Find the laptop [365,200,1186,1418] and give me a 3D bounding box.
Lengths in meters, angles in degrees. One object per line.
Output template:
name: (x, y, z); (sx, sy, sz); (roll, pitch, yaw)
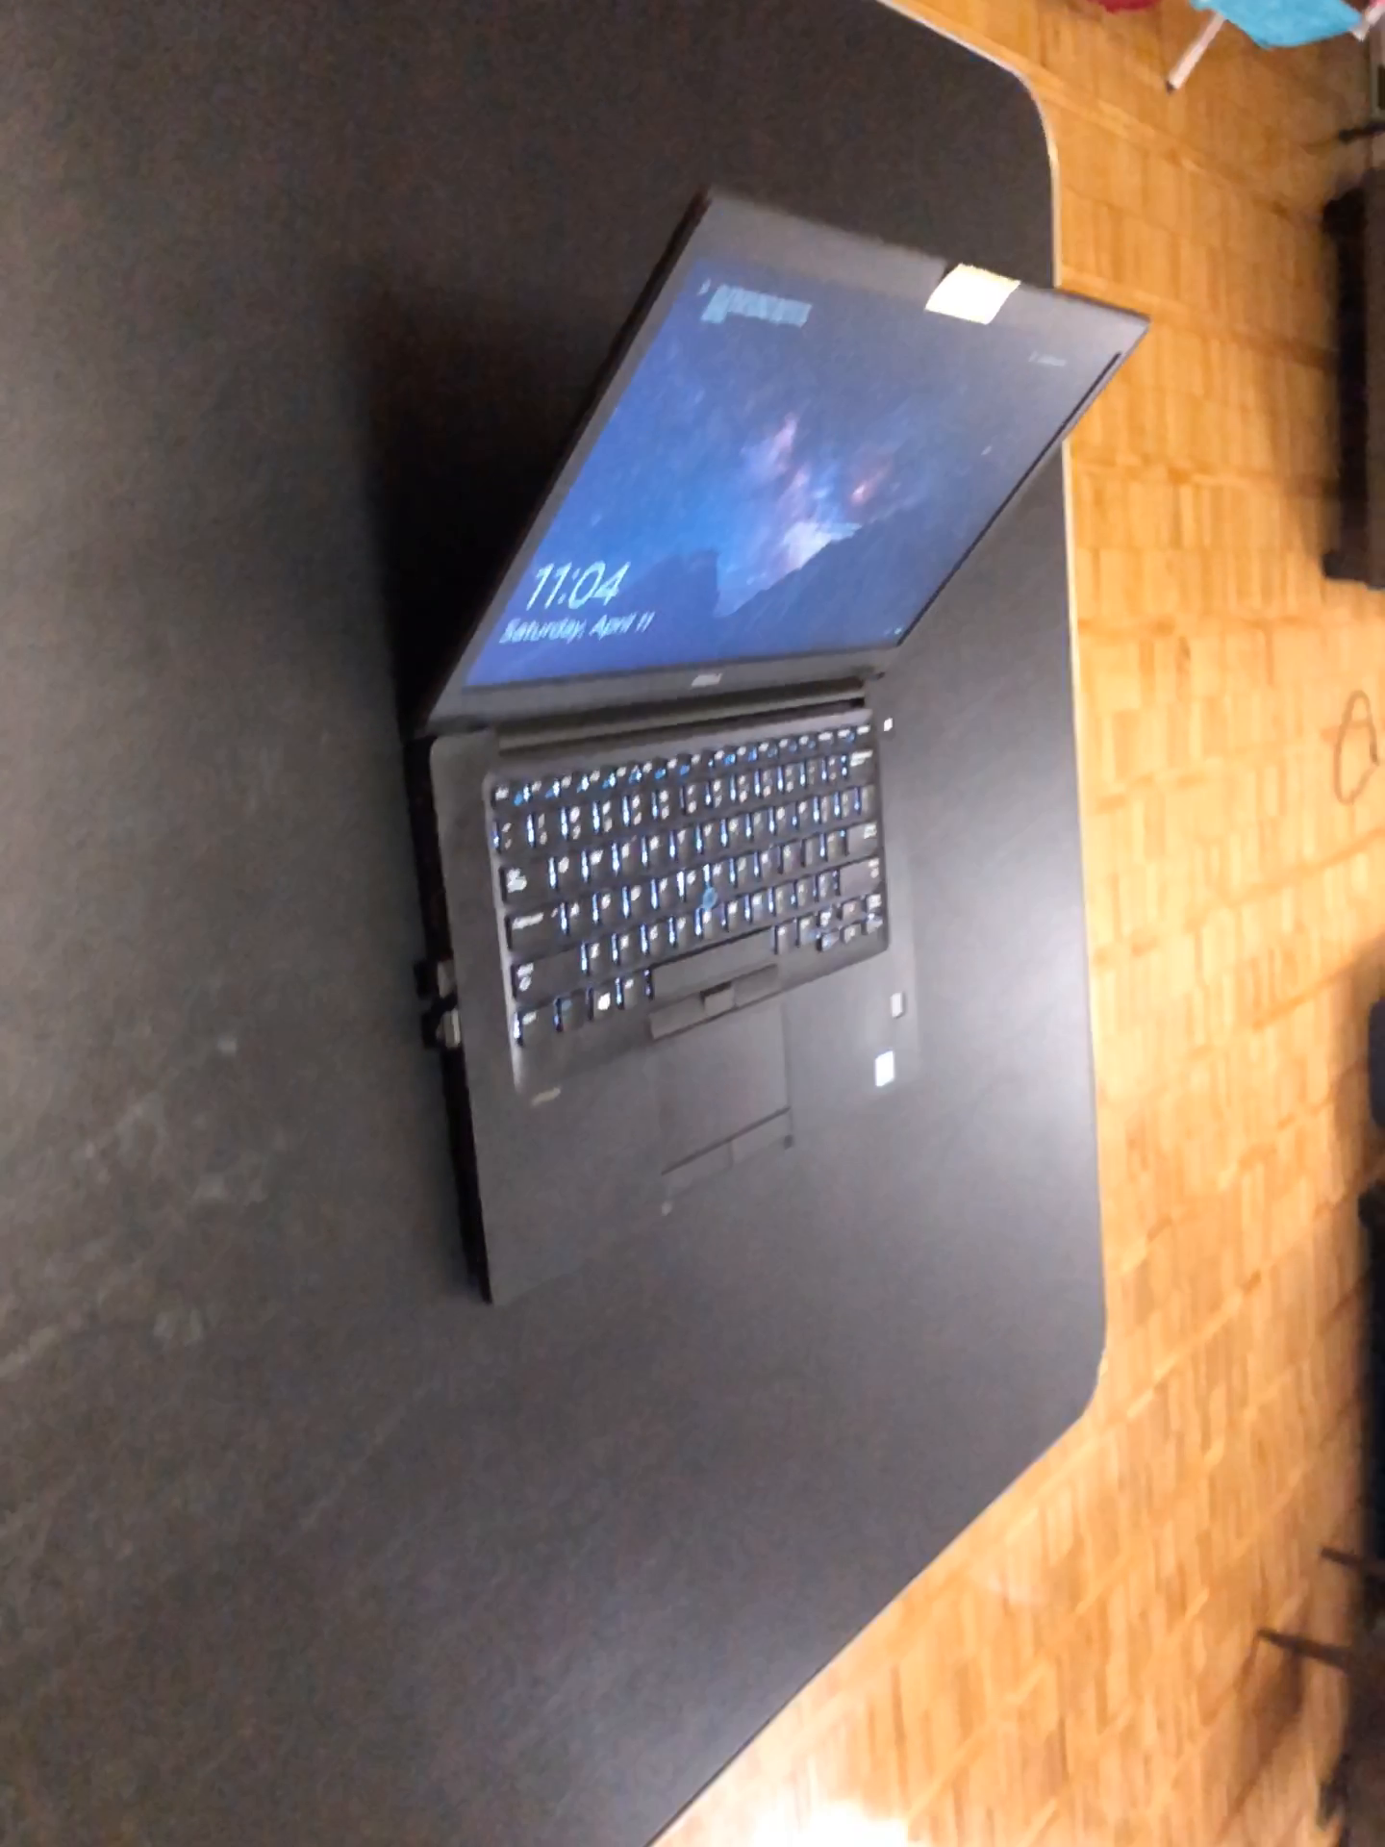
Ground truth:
laptop: (0.063, -0.056, 0.624); (0.321, 0.140, 0.367); (-17, 104, -50)
